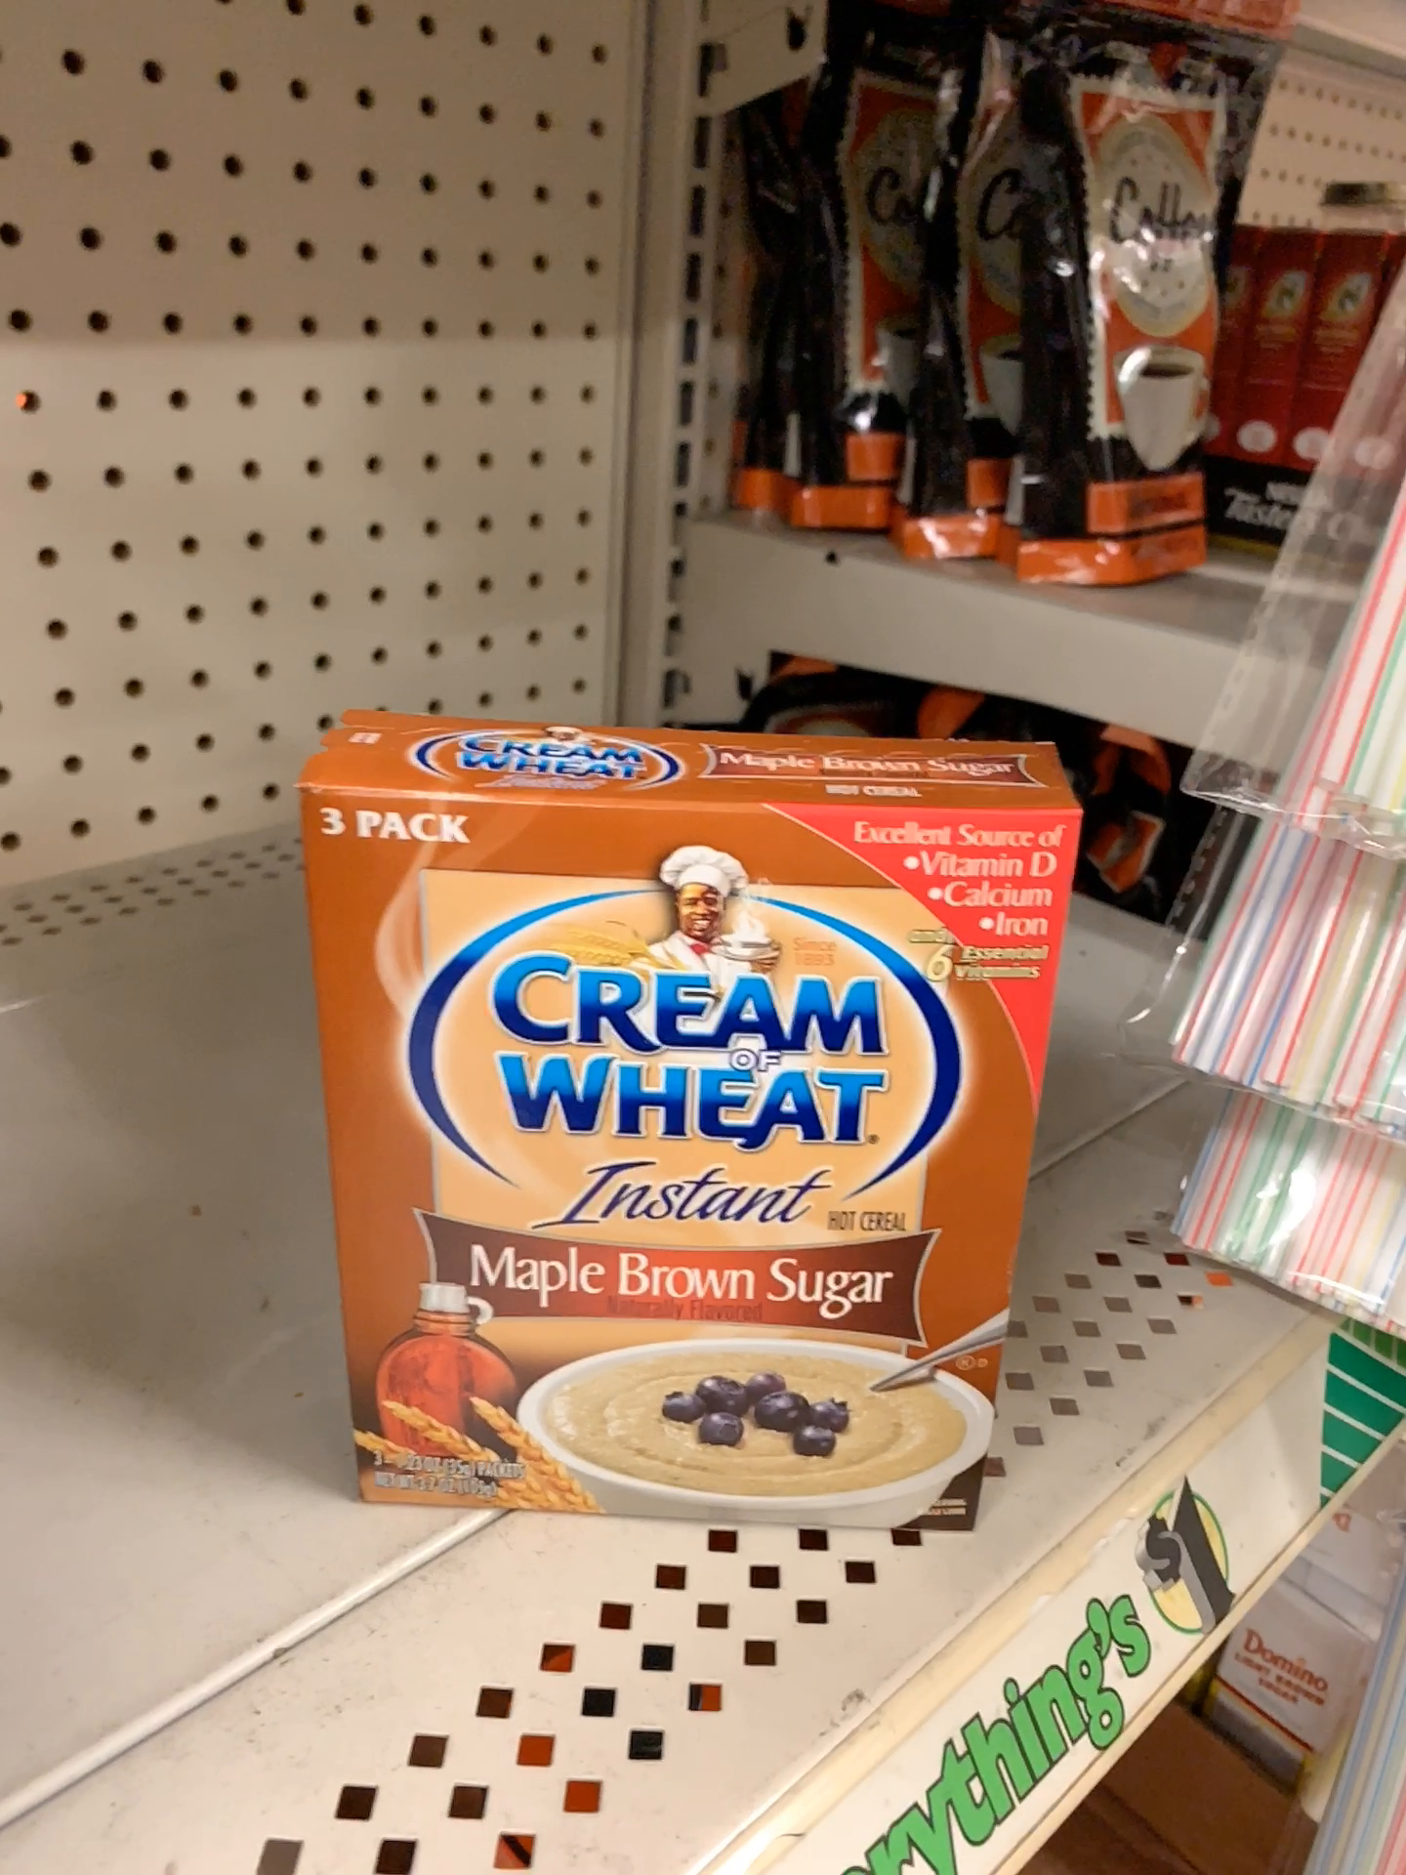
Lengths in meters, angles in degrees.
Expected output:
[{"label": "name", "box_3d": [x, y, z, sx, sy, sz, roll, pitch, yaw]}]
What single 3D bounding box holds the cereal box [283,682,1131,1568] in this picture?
[{"label": "cereal box", "box_3d": [-0.003, 0.037, 0.256, 0.120, 0.149, 0.040, 3, 25, -1]}]
